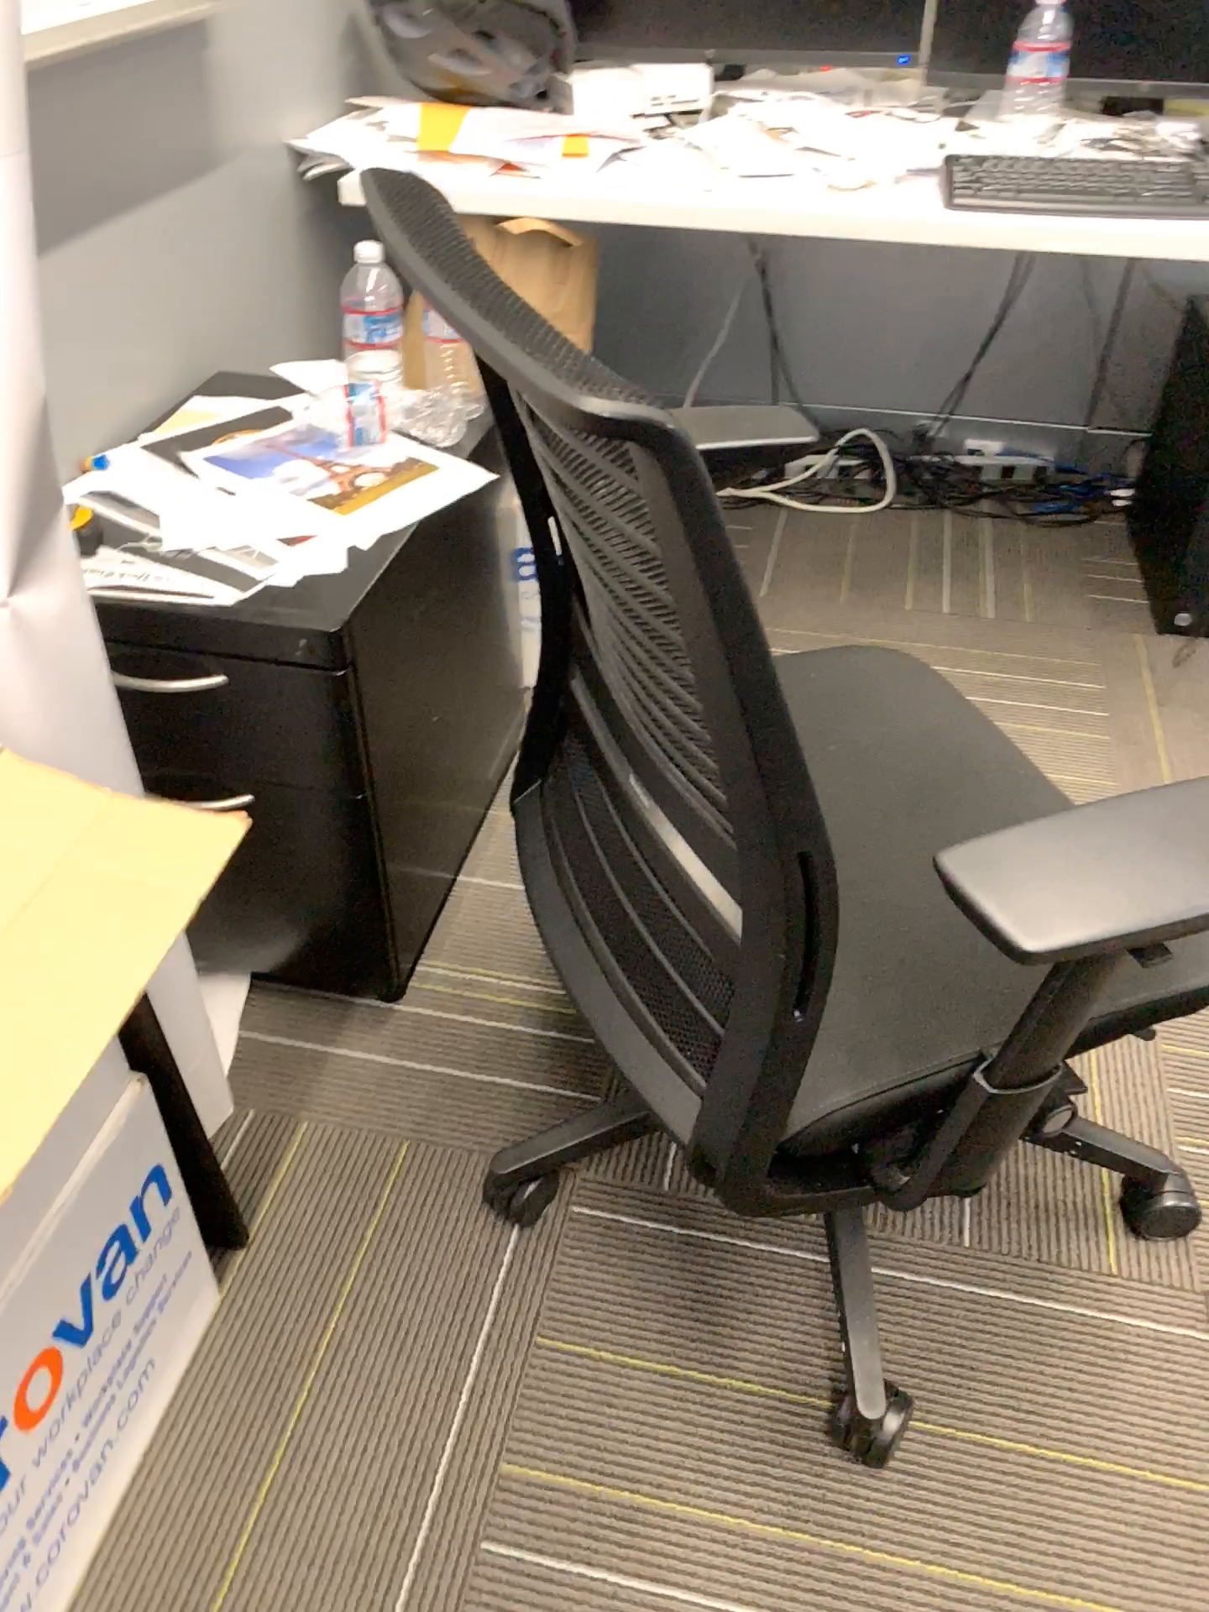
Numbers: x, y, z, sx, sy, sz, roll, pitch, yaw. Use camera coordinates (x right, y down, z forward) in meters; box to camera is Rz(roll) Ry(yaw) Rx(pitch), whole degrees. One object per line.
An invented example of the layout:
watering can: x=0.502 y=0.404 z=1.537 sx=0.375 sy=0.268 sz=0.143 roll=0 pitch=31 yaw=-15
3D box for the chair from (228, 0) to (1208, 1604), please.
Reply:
chair: x=0.203 y=-0.044 z=0.975 sx=0.680 sy=0.914 sz=0.664 roll=-17 pitch=42 yaw=-19
